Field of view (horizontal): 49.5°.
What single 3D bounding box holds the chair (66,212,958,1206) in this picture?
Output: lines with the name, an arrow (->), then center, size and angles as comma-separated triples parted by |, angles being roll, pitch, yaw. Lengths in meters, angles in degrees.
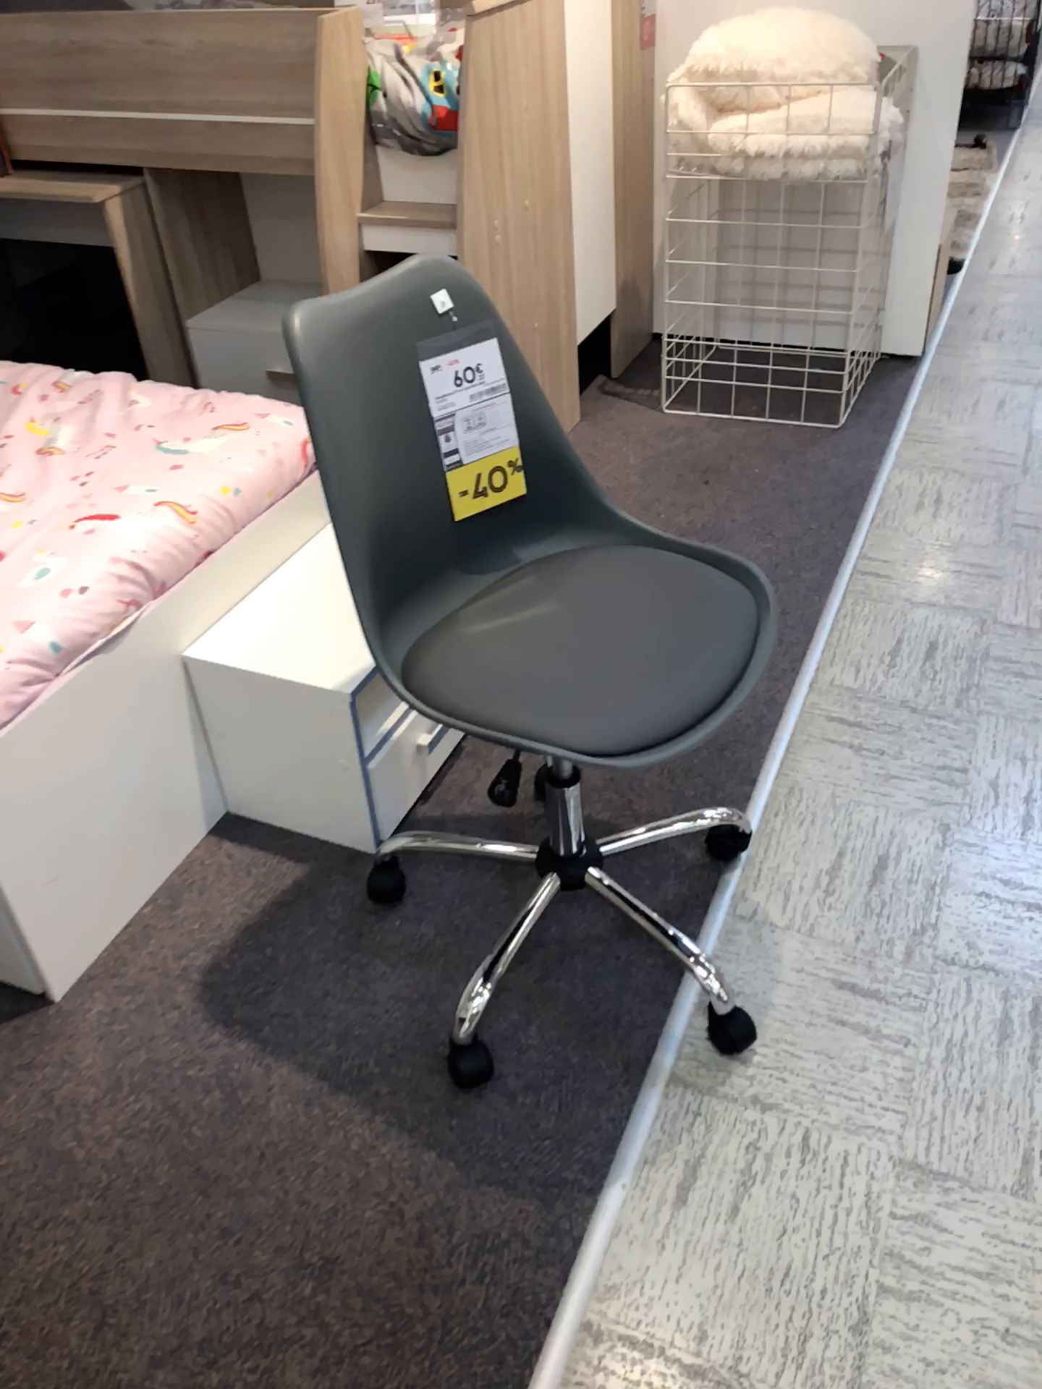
chair -> 0.031, -0.025, 1.340 | 0.630, 0.835, 0.604 | 21, 44, 30
